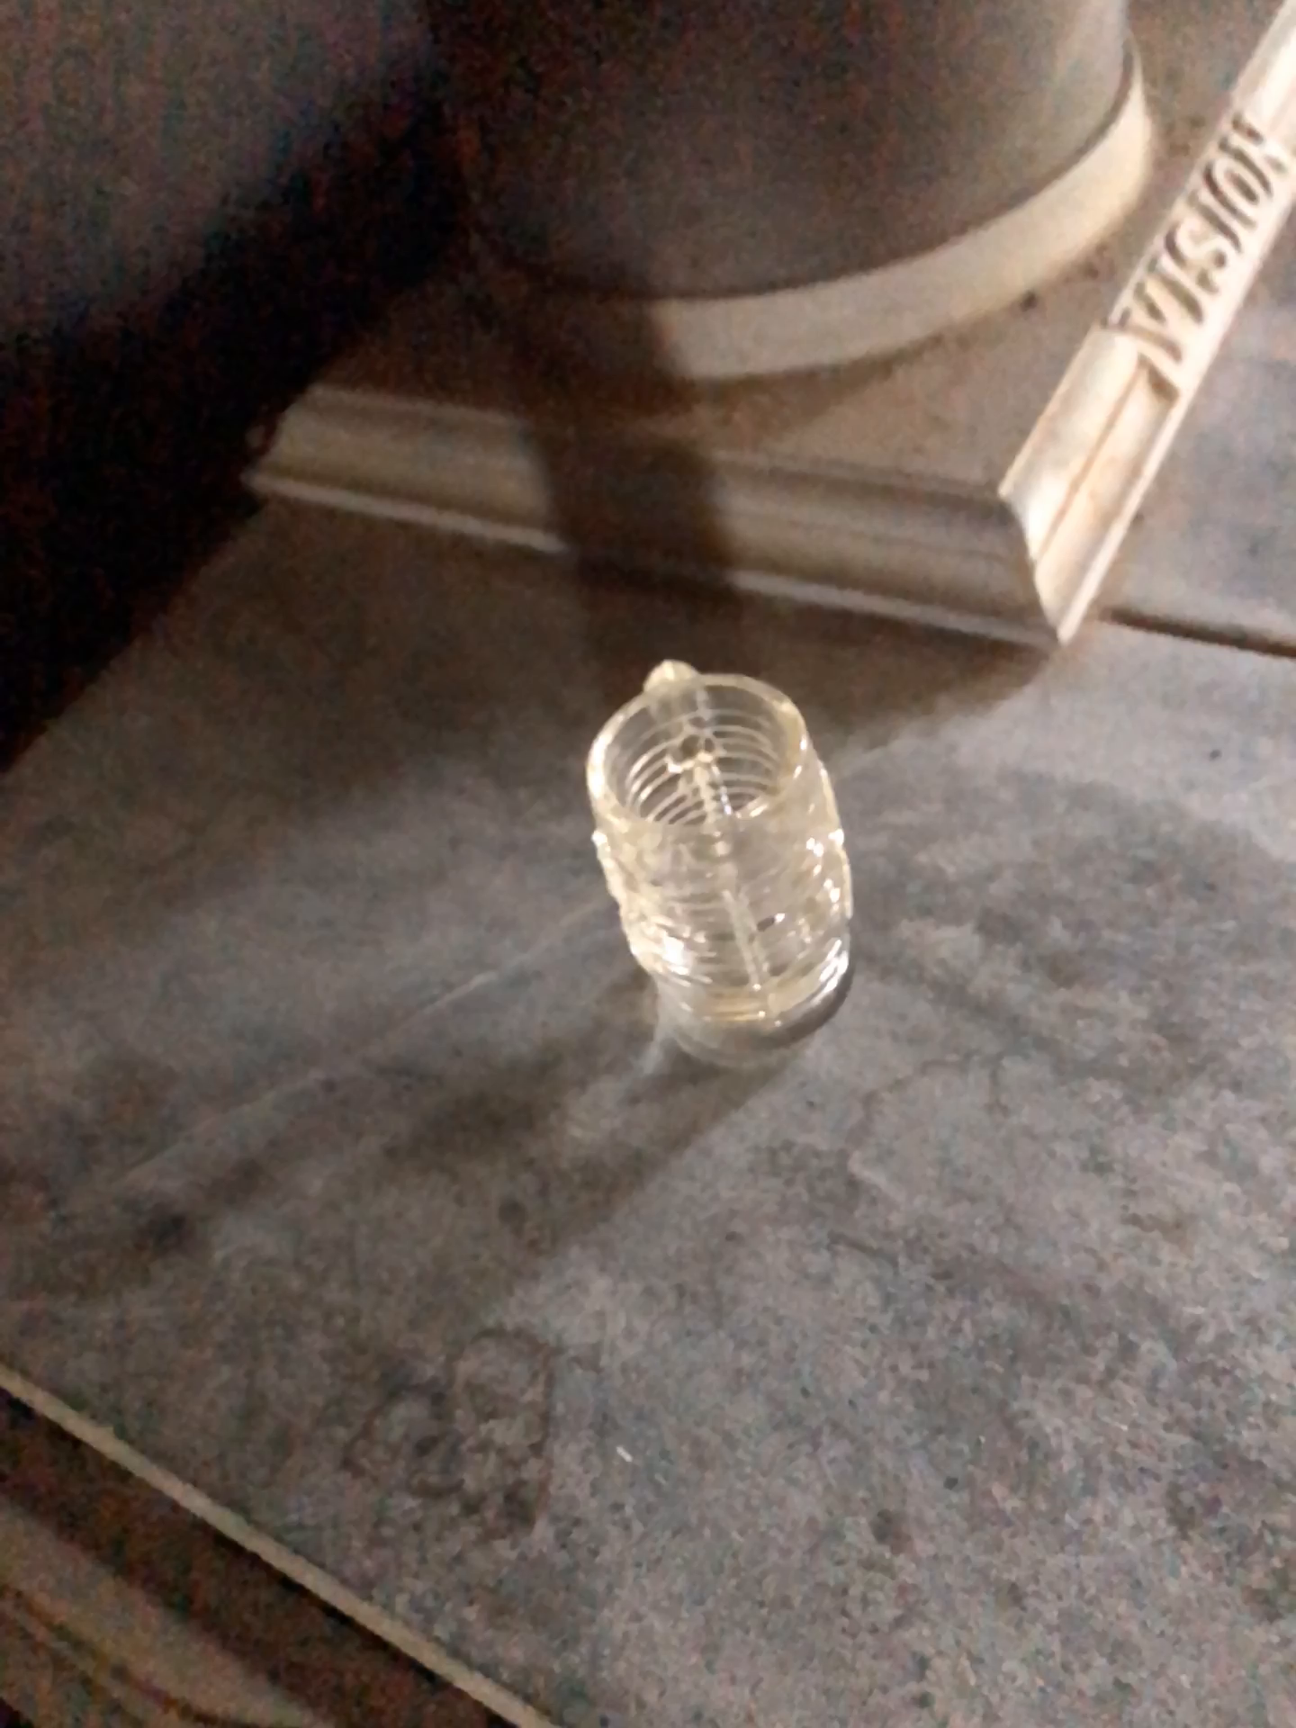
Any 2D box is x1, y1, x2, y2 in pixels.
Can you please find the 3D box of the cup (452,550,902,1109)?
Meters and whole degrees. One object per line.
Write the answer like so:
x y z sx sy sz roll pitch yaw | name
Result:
0.005 -0.006 0.229 0.040 0.050 0.060 -26 50 -5 | cup
